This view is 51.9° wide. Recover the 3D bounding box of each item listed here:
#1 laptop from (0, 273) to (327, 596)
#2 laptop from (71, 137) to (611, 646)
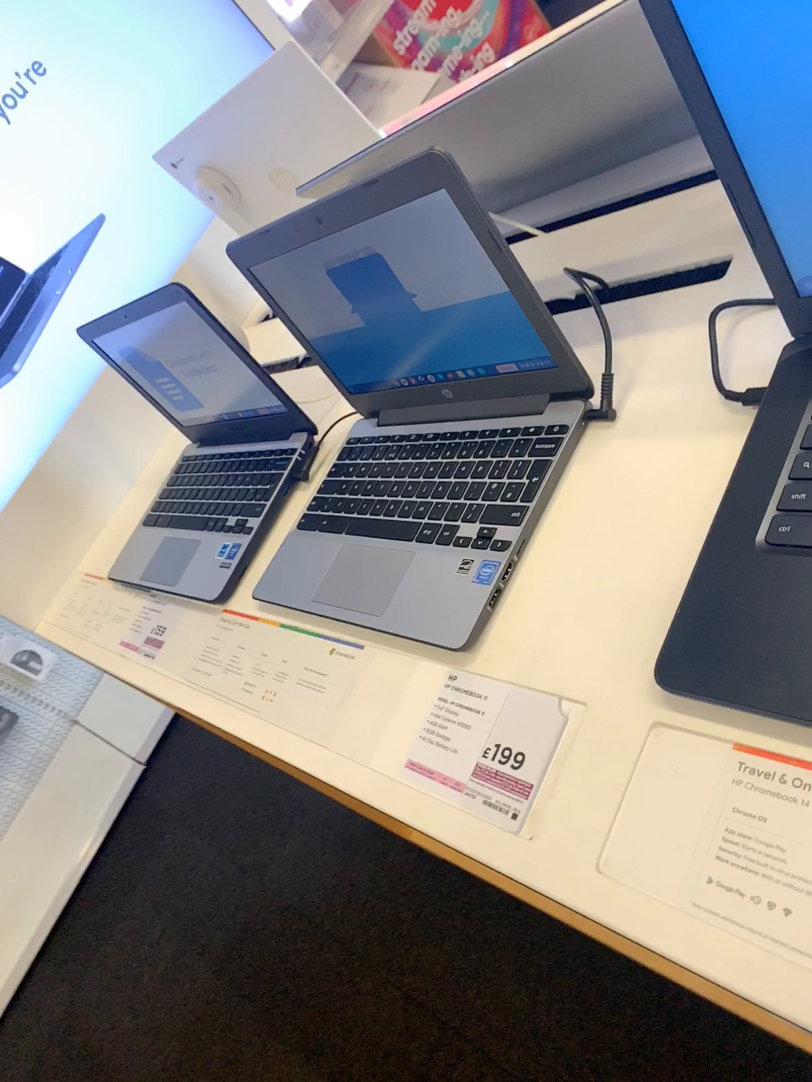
[{"bbox_3d":[-0.273,-0.100,0.867,0.288,0.180,0.221,4,61,51],"label":"laptop"},{"bbox_3d":[-0.056,-0.091,0.600,0.279,0.185,0.228,5,61,52],"label":"laptop"}]
